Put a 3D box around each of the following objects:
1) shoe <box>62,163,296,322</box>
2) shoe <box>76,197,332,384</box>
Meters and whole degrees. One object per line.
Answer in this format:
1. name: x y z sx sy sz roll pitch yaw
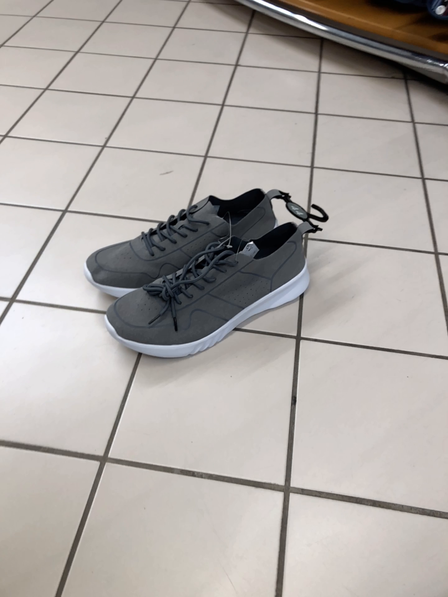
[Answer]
1. shoe: -0.058 -0.085 0.690 0.291 0.099 0.110 -19 51 -17
2. shoe: -0.021 -0.018 0.631 0.291 0.099 0.110 -22 52 -19
